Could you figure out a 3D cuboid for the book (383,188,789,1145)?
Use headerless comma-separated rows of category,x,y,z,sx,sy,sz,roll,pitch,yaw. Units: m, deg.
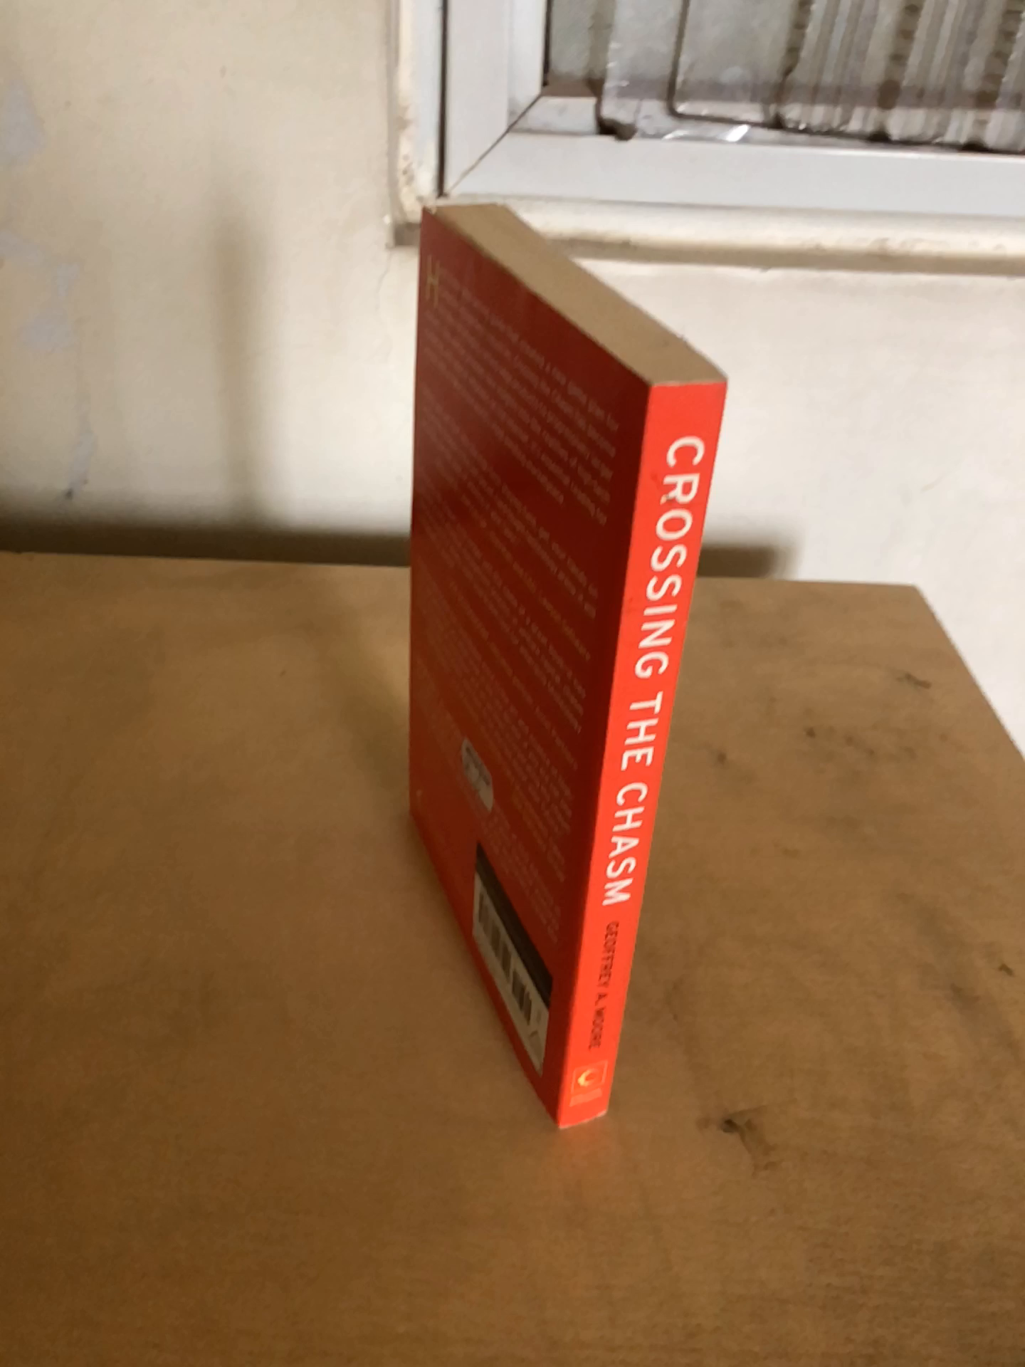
book,0.001,-0.009,0.306,0.030,0.199,0.161,-9,36,-18
